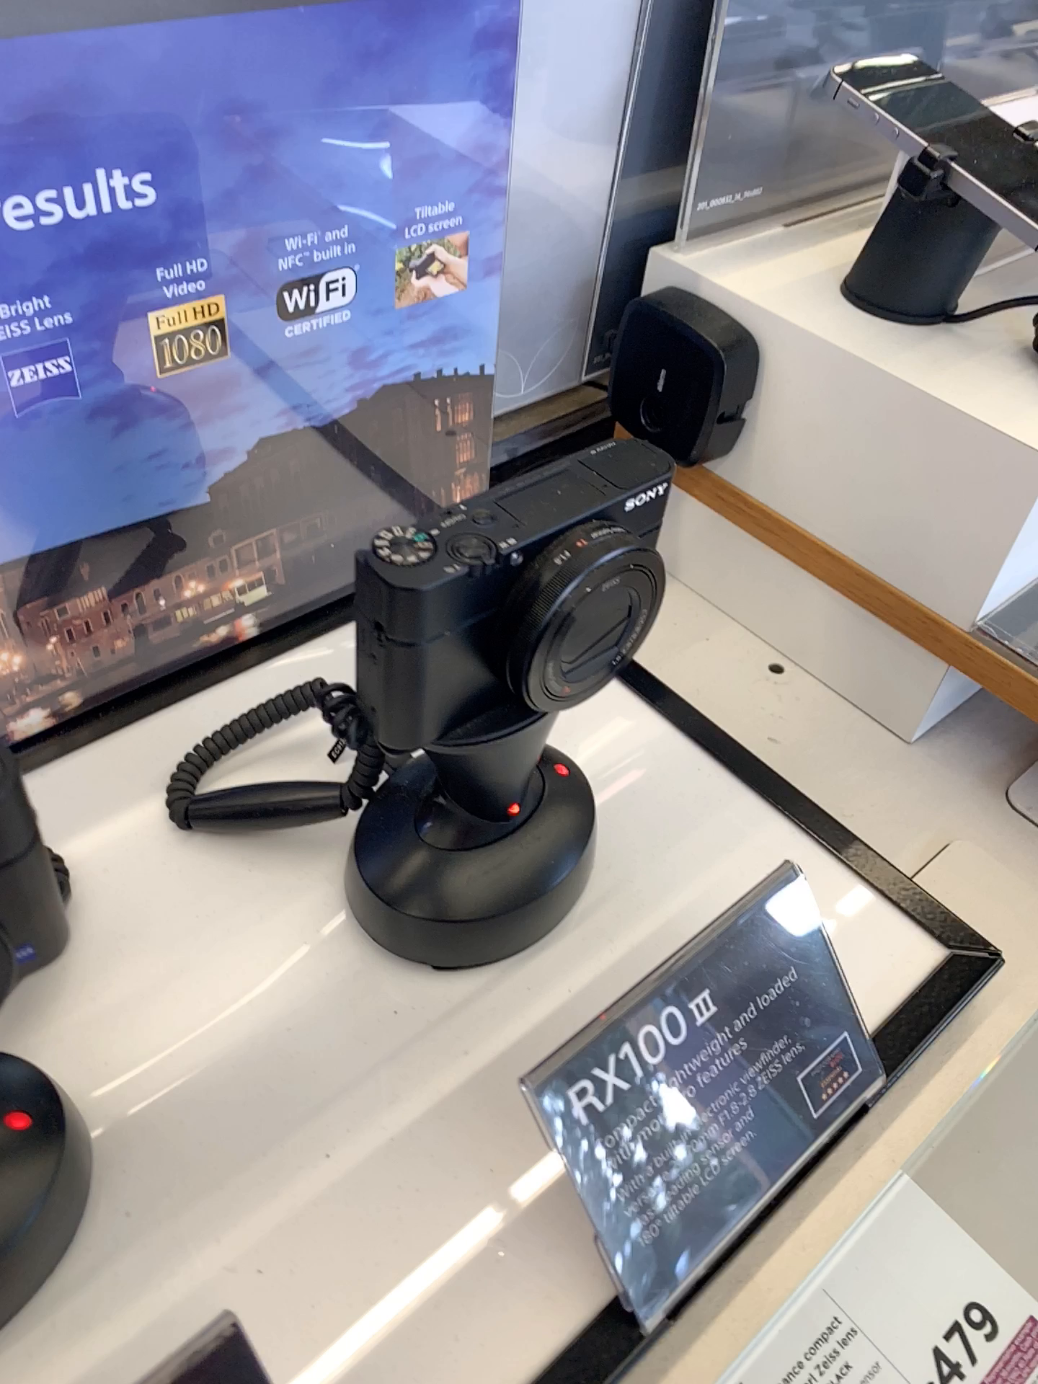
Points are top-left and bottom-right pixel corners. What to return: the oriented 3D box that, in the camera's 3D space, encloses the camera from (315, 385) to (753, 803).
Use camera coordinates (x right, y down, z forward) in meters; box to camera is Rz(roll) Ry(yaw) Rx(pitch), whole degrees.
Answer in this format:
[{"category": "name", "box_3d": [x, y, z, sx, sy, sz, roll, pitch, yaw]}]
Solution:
[{"category": "camera", "box_3d": [0.005, -0.031, 0.295, 0.111, 0.059, 0.050, -32, 57, -33]}]
